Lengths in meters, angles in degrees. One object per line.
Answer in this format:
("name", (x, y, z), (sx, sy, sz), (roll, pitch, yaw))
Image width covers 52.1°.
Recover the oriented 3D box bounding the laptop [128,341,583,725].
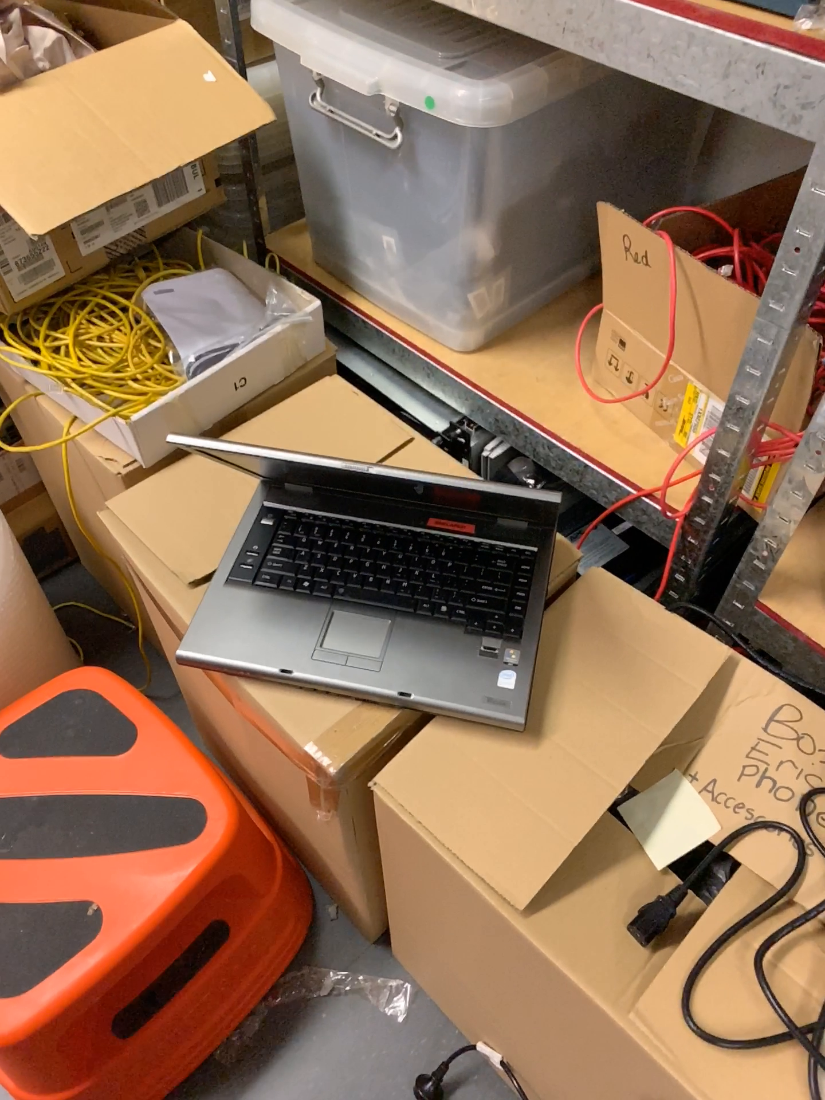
("laptop", (-0.038, -0.024, 0.824), (0.352, 0.203, 0.254), (10, 51, 10))
